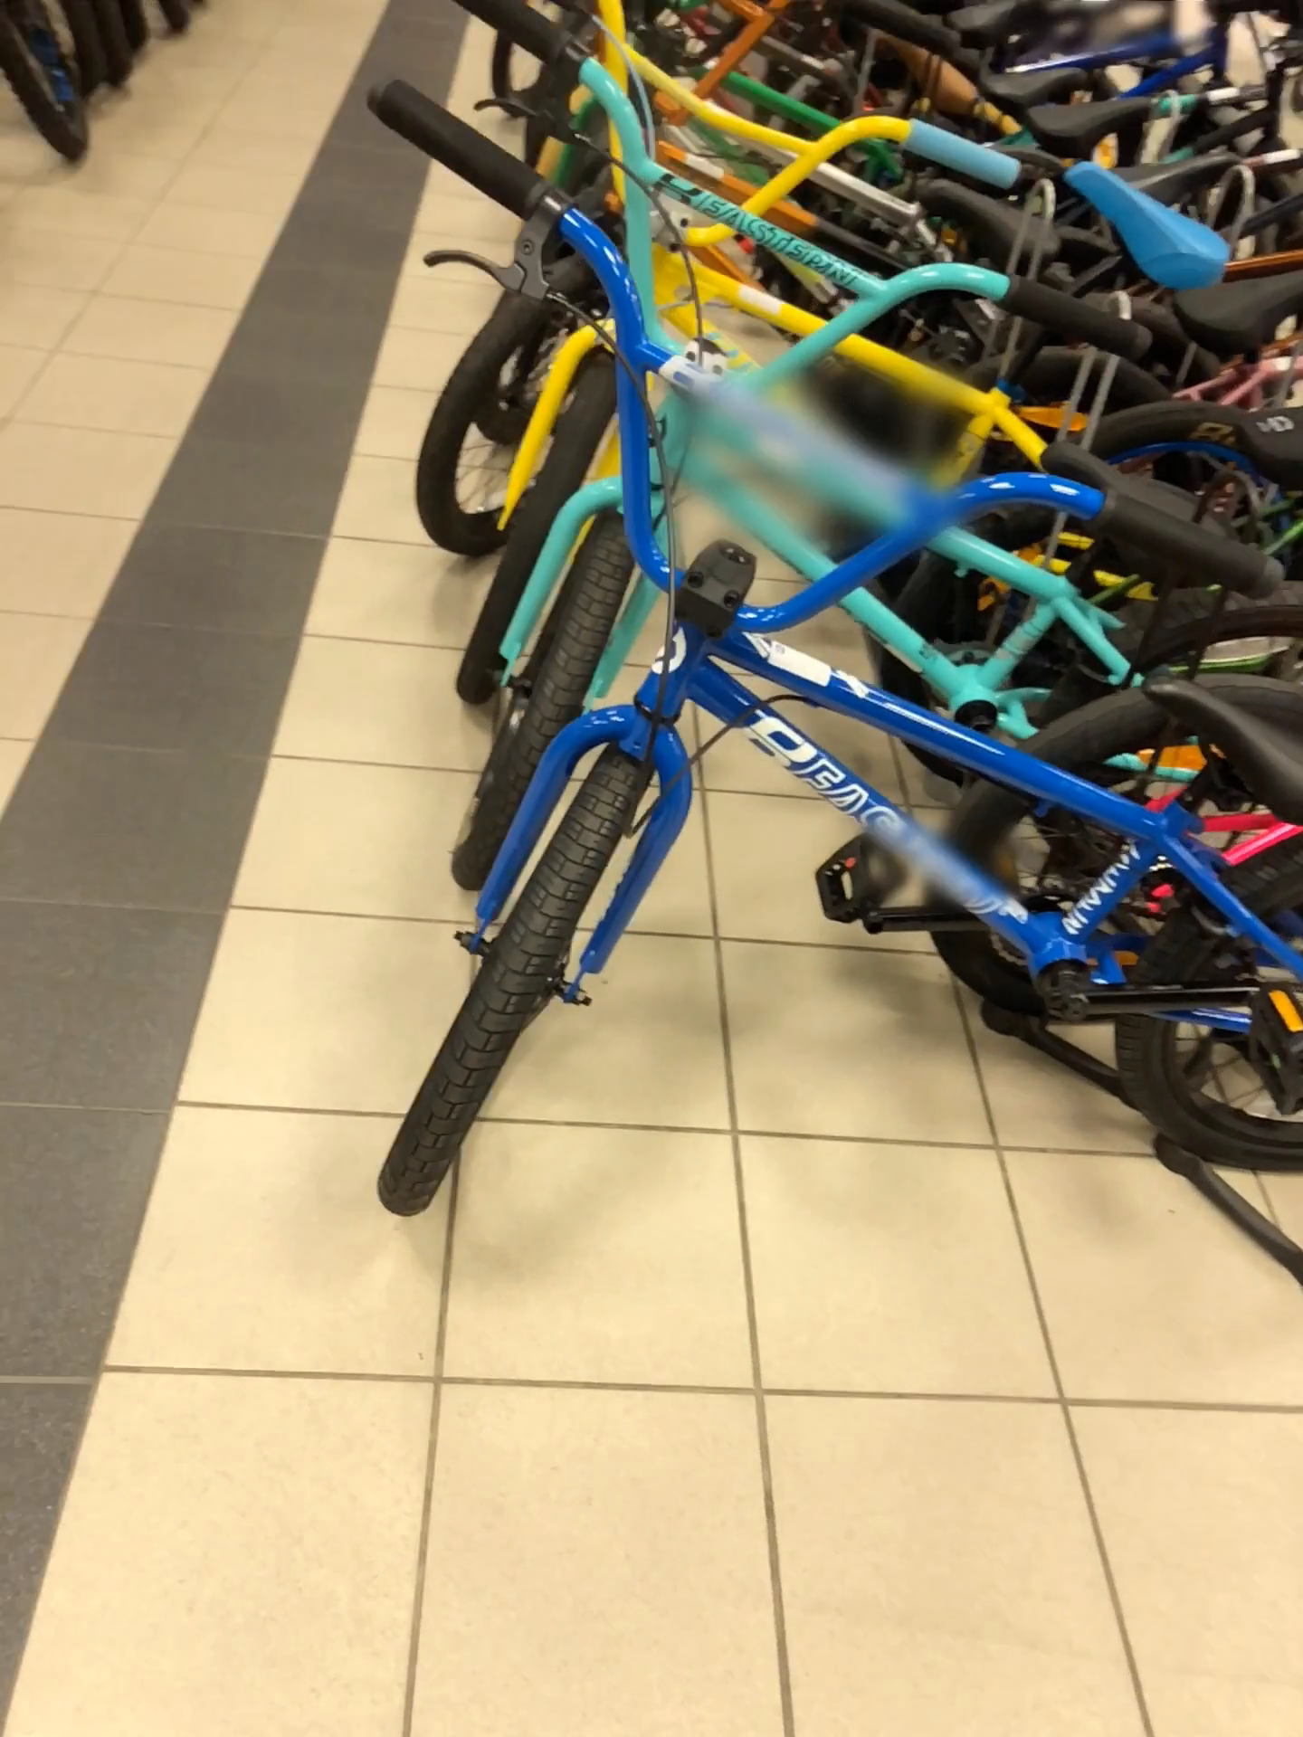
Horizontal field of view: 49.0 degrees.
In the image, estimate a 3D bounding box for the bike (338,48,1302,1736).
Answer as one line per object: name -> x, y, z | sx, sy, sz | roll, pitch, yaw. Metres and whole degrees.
bike -> 0.415, -0.002, 1.234 | 1.258, 0.960, 0.825 | 0, 42, -13
